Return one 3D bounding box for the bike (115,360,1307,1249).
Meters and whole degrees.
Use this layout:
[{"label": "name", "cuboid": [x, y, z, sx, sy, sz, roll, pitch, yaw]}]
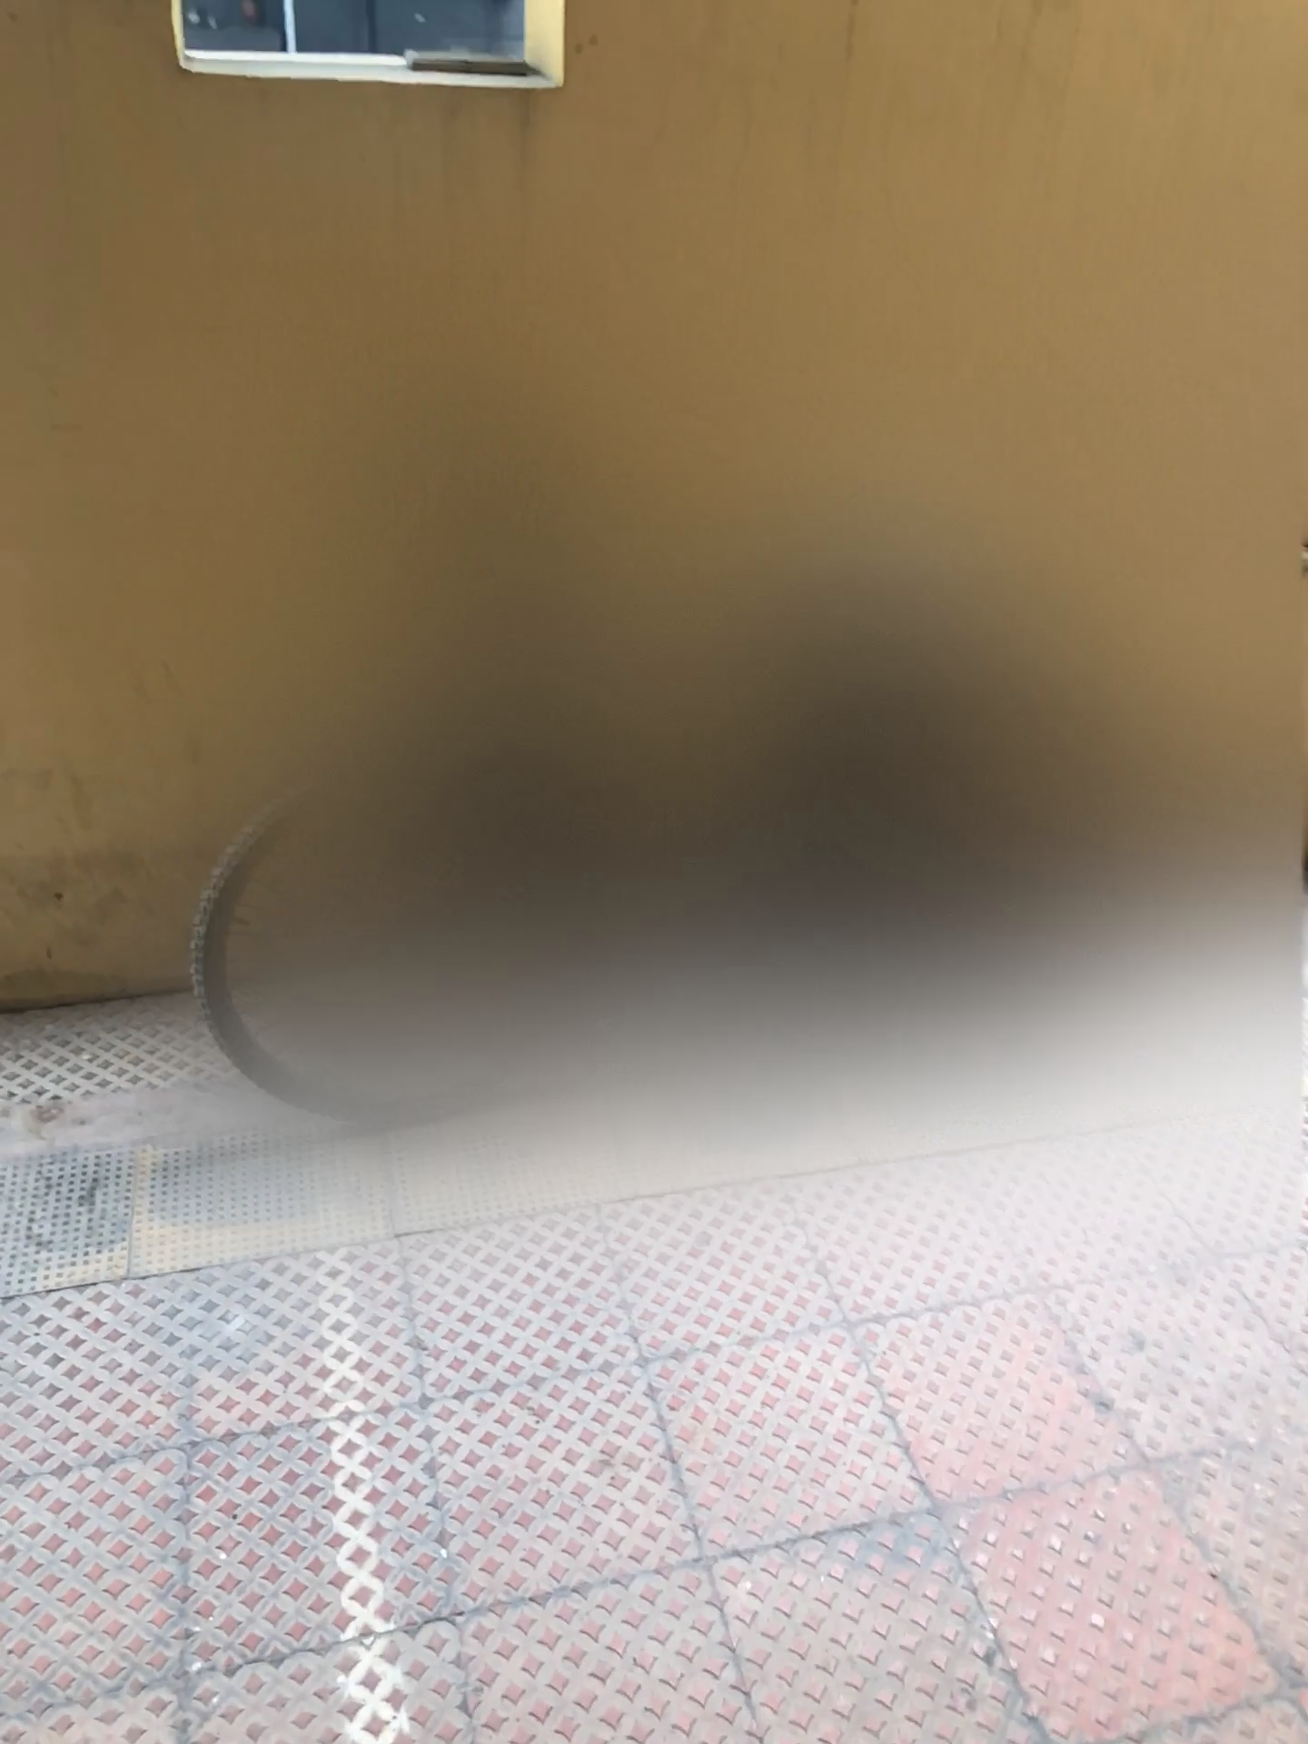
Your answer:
[{"label": "bike", "cuboid": [0.119, -0.152, 2.128, 1.547, 0.999, 0.543, -6, 33, -20]}]
